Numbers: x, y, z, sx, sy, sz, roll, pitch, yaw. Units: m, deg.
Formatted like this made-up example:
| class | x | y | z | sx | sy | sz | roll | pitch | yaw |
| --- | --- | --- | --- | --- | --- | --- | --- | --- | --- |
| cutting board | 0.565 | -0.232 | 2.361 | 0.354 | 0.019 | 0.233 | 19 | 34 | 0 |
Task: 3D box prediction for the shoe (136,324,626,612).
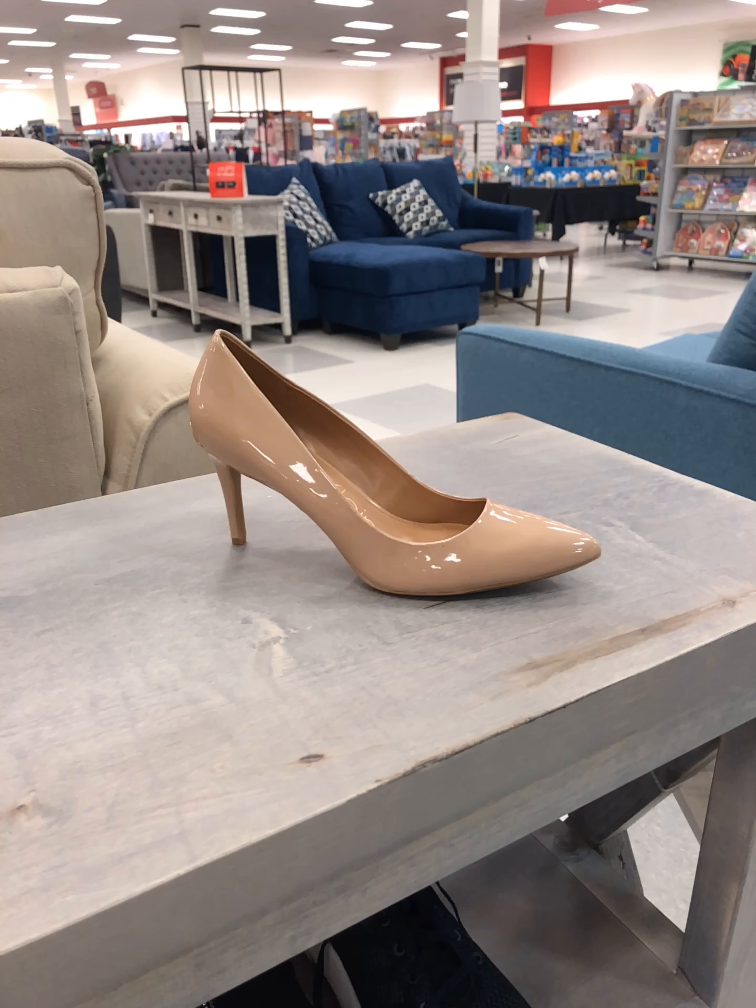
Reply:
| class | x | y | z | sx | sy | sz | roll | pitch | yaw |
| --- | --- | --- | --- | --- | --- | --- | --- | --- | --- |
| shoe | 0.006 | -0.031 | 0.504 | 0.267 | 0.129 | 0.097 | 5 | 23 | 15 |
